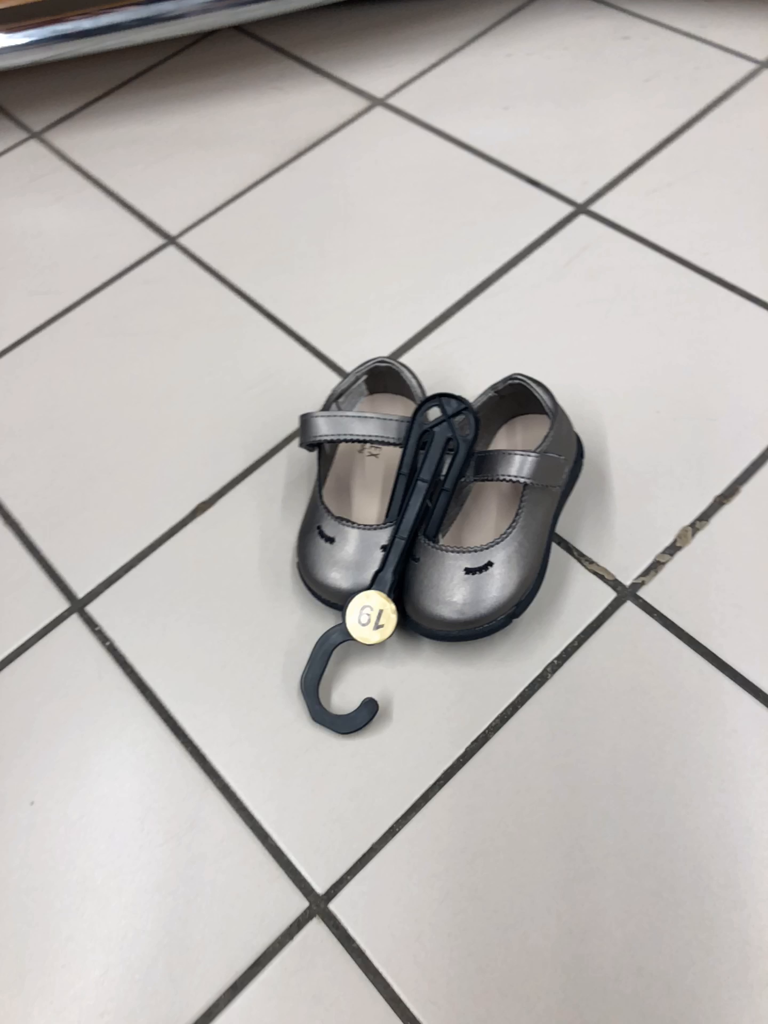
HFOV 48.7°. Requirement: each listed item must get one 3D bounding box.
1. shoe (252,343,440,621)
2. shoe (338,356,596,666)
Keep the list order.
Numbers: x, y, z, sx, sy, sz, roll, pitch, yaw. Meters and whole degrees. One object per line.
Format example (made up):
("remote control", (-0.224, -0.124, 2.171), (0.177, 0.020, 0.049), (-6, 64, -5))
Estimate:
("shoe", (-0.014, -0.019, 0.436), (0.059, 0.047, 0.135), (7, 59, 13))
("shoe", (0.045, -0.005, 0.406), (0.067, 0.061, 0.129), (9, 58, 31))
